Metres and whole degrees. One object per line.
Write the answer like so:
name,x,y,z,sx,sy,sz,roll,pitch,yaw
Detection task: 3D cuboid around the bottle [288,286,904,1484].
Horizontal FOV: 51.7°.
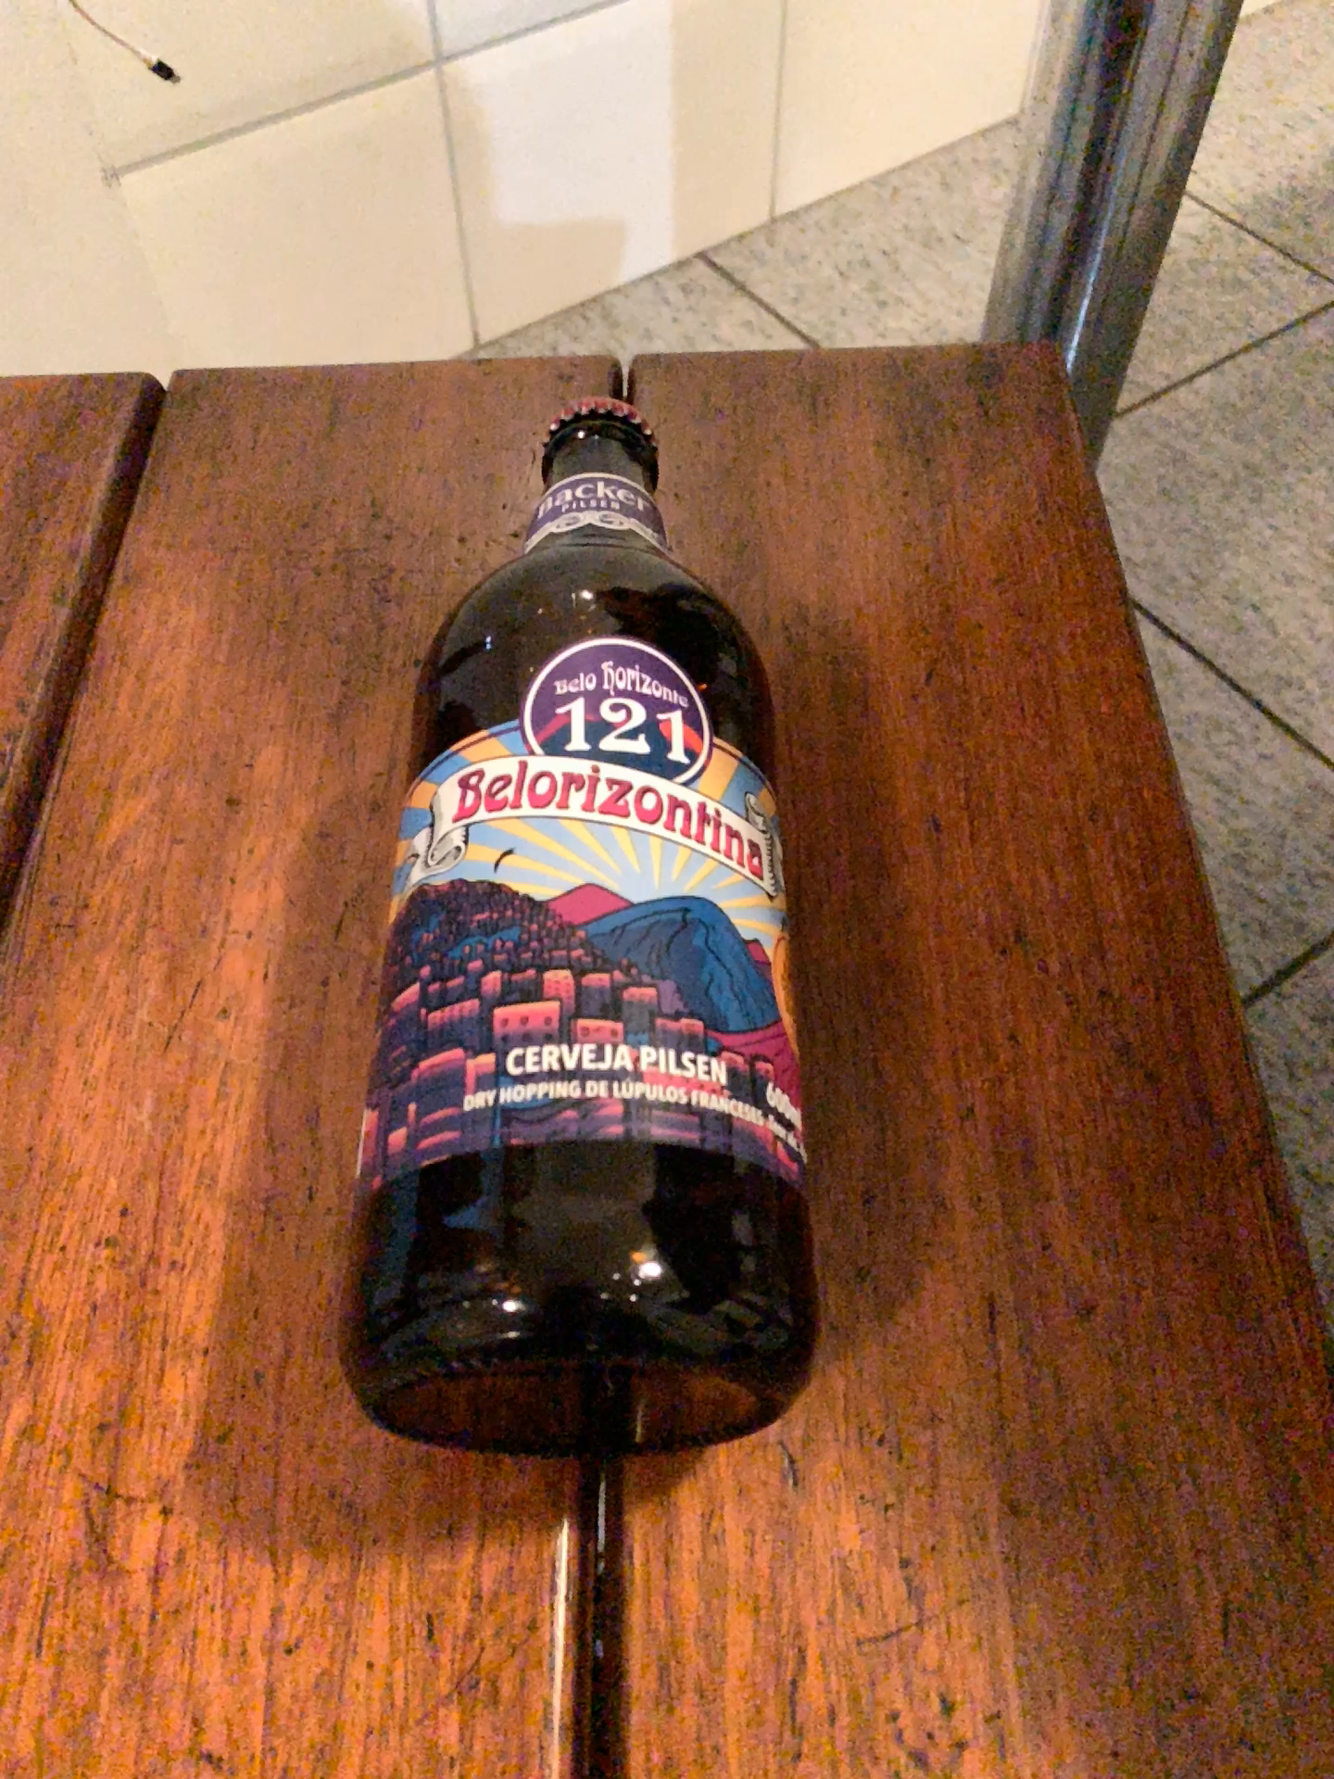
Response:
bottle,-0.016,-0.020,0.266,0.080,0.050,0.241,2,56,-7
